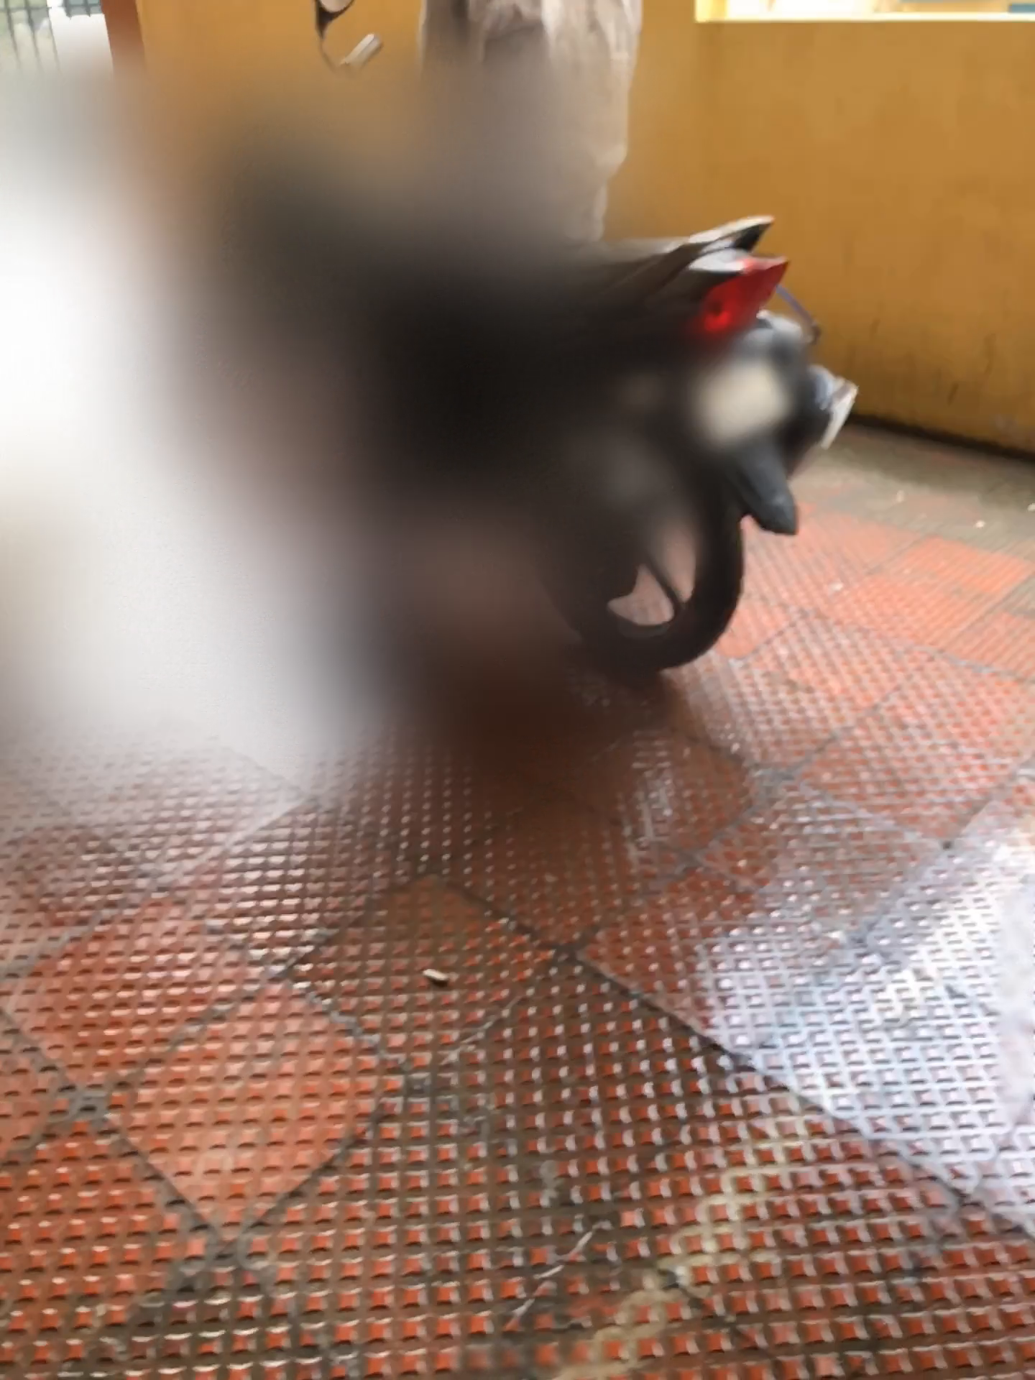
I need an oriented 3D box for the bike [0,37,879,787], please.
[{"bbox_3d":[-0.366,-0.773,2.612,1.877,1.185,0.813,24,40,36],"label":"bike"}]
